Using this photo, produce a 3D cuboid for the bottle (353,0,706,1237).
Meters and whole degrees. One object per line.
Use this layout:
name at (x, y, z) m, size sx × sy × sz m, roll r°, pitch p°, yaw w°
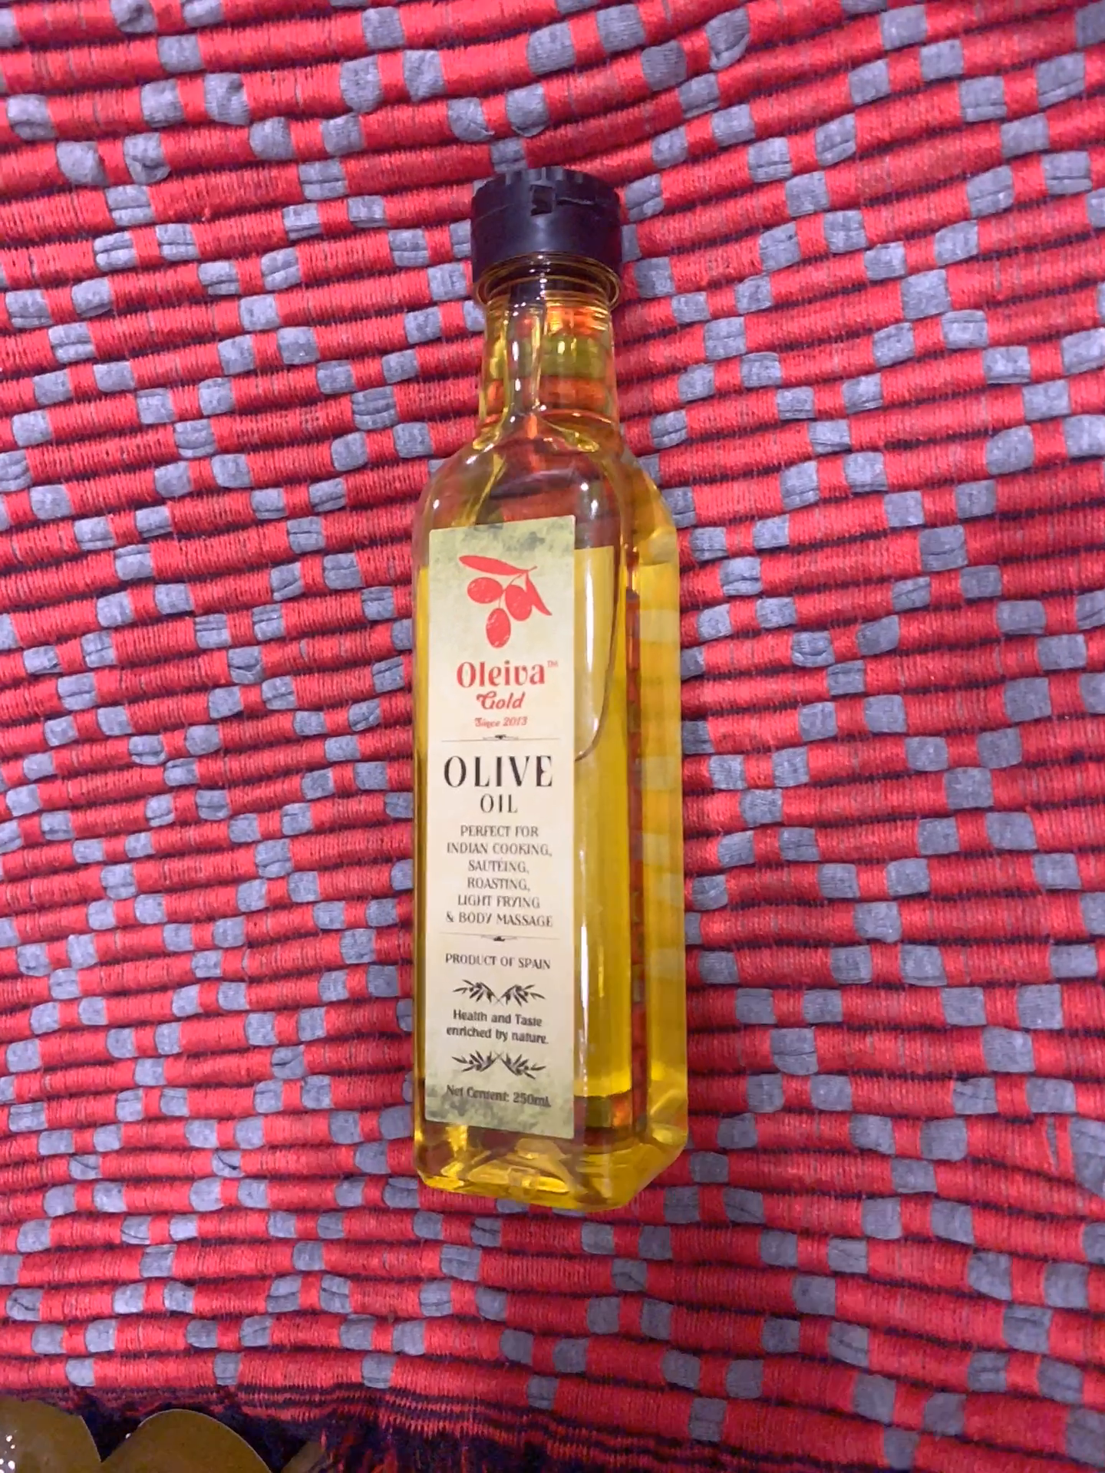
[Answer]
bottle at (-0.003, -0.022, 0.224) m, size 0.050 × 0.050 × 0.210 m, roll -2°, pitch 85°, yaw 24°
